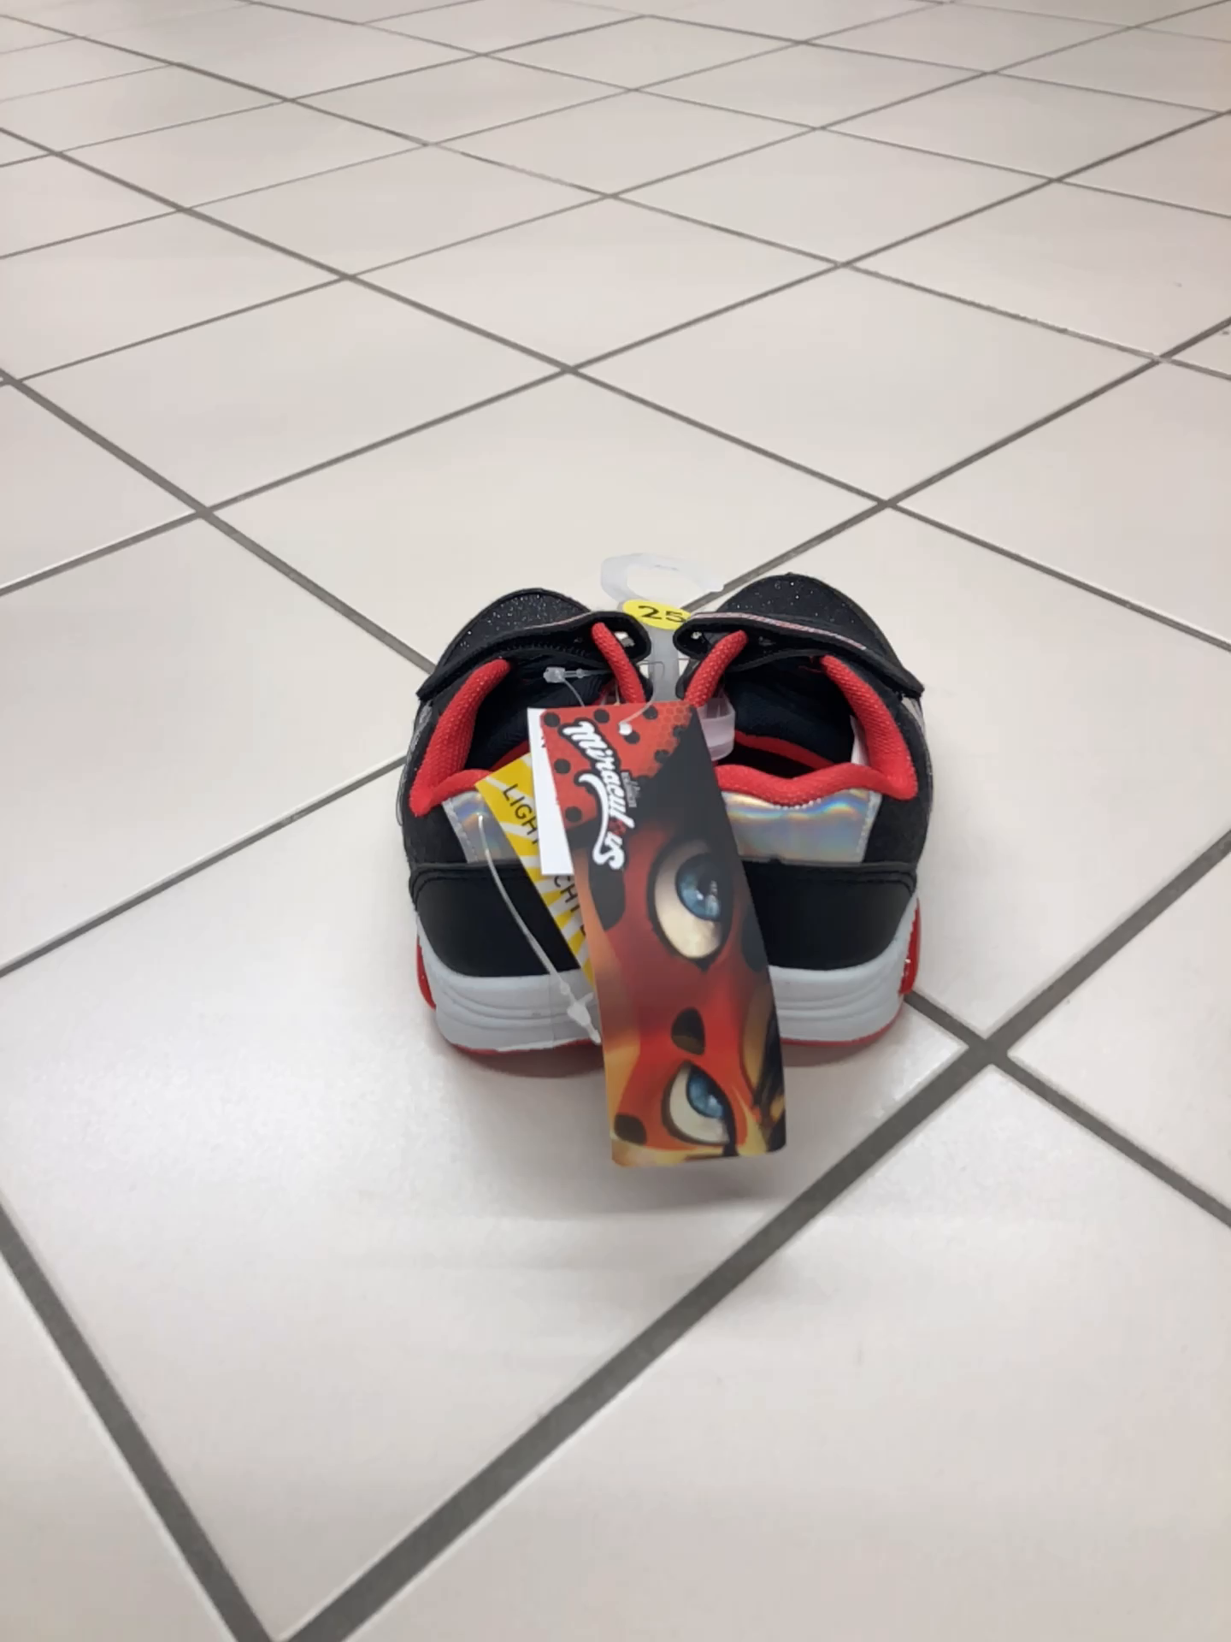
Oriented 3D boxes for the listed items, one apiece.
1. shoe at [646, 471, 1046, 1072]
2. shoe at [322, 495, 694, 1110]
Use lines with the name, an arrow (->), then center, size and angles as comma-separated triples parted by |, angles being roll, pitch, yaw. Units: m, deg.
shoe -> 0.050, -0.022, 0.363 | 0.075, 0.069, 0.167 | -3, 40, 1
shoe -> -0.027, -0.015, 0.368 | 0.077, 0.071, 0.168 | -5, 40, -1
